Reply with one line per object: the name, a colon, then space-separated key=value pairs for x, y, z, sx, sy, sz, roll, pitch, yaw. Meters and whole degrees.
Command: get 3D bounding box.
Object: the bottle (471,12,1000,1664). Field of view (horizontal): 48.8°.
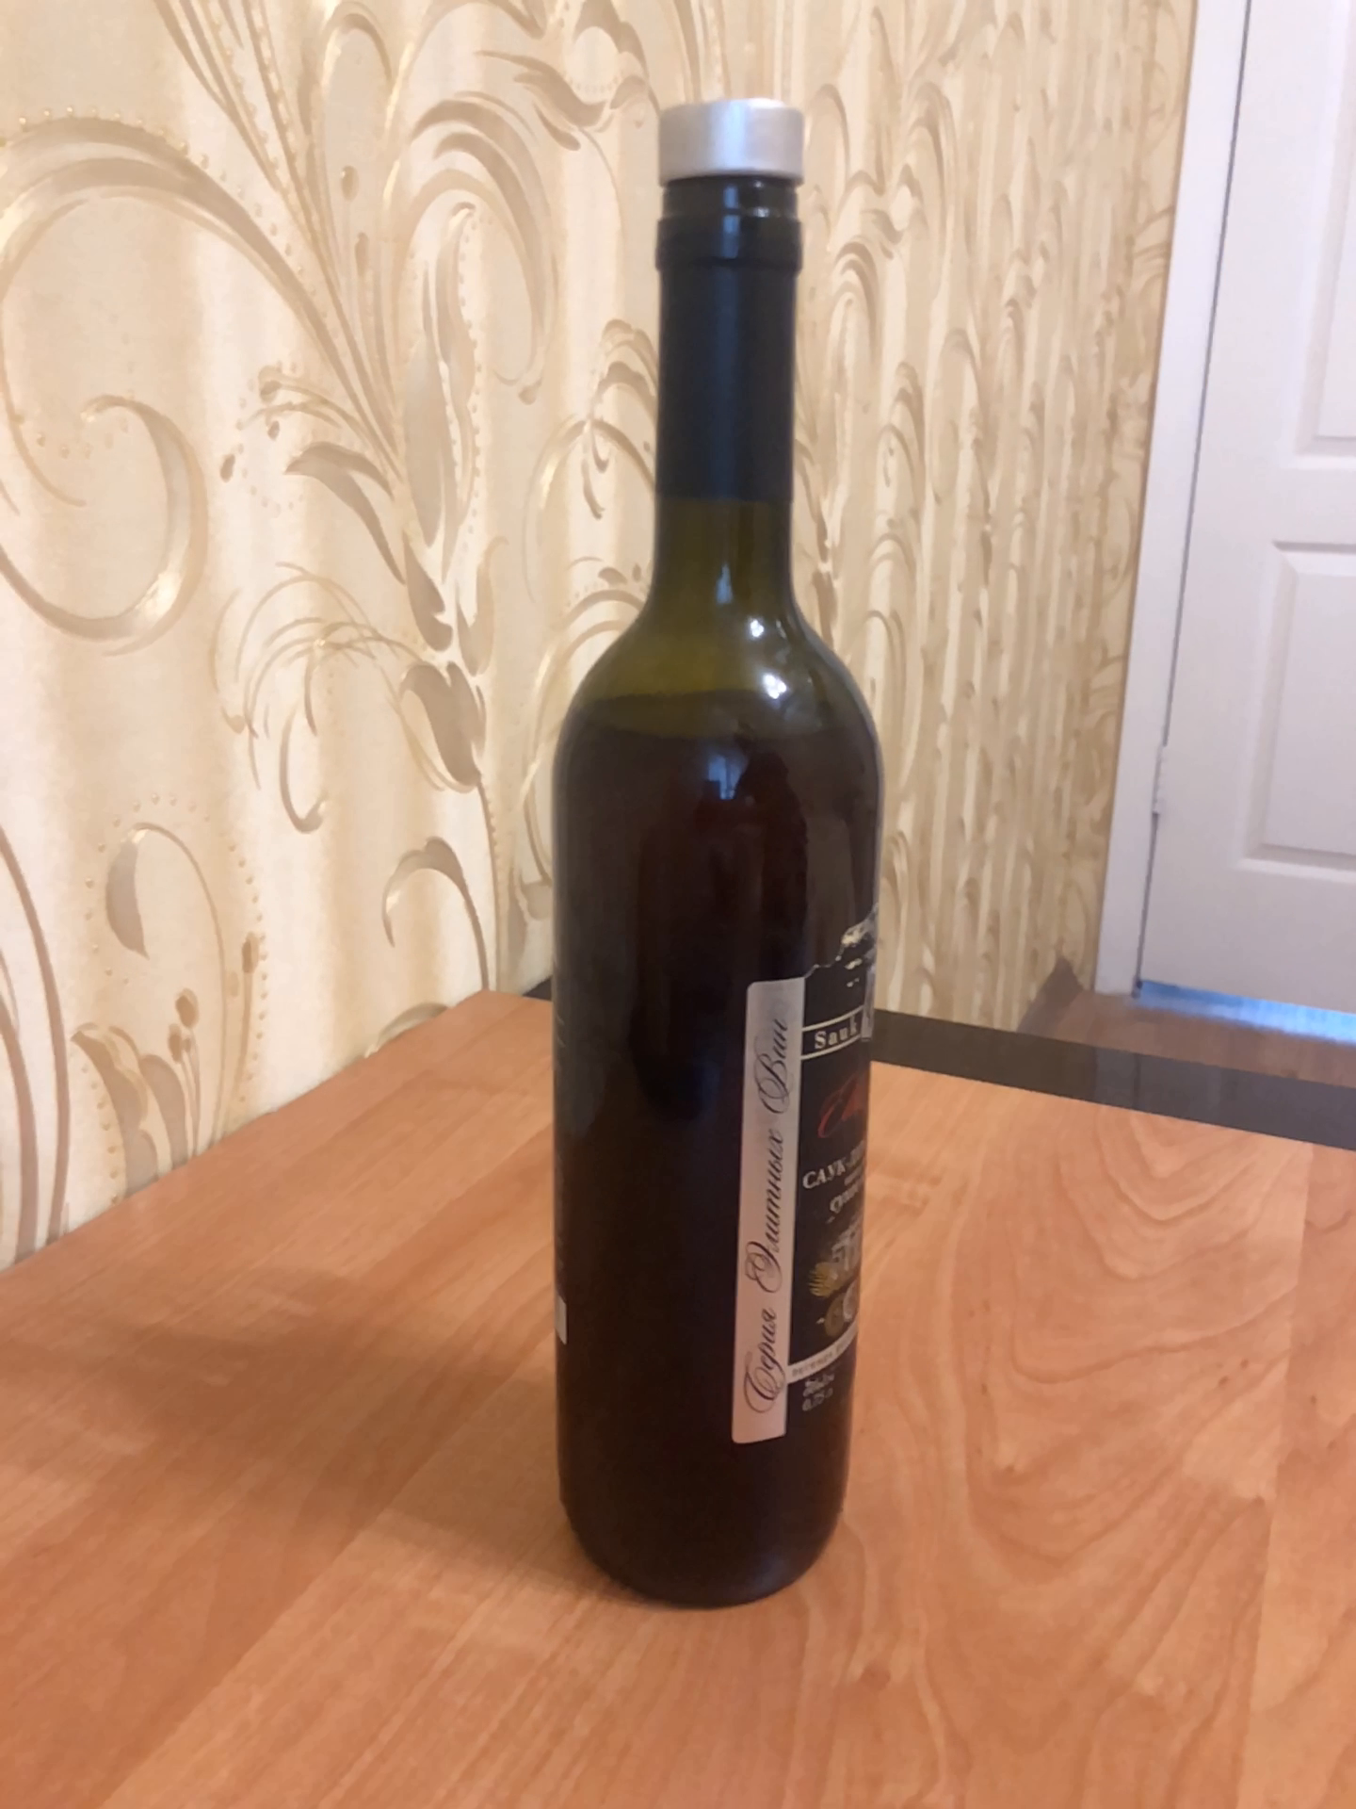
bottle: x=0.012 y=-0.003 z=0.334 sx=0.073 sy=0.322 sz=0.084 roll=9 pitch=19 yaw=25
